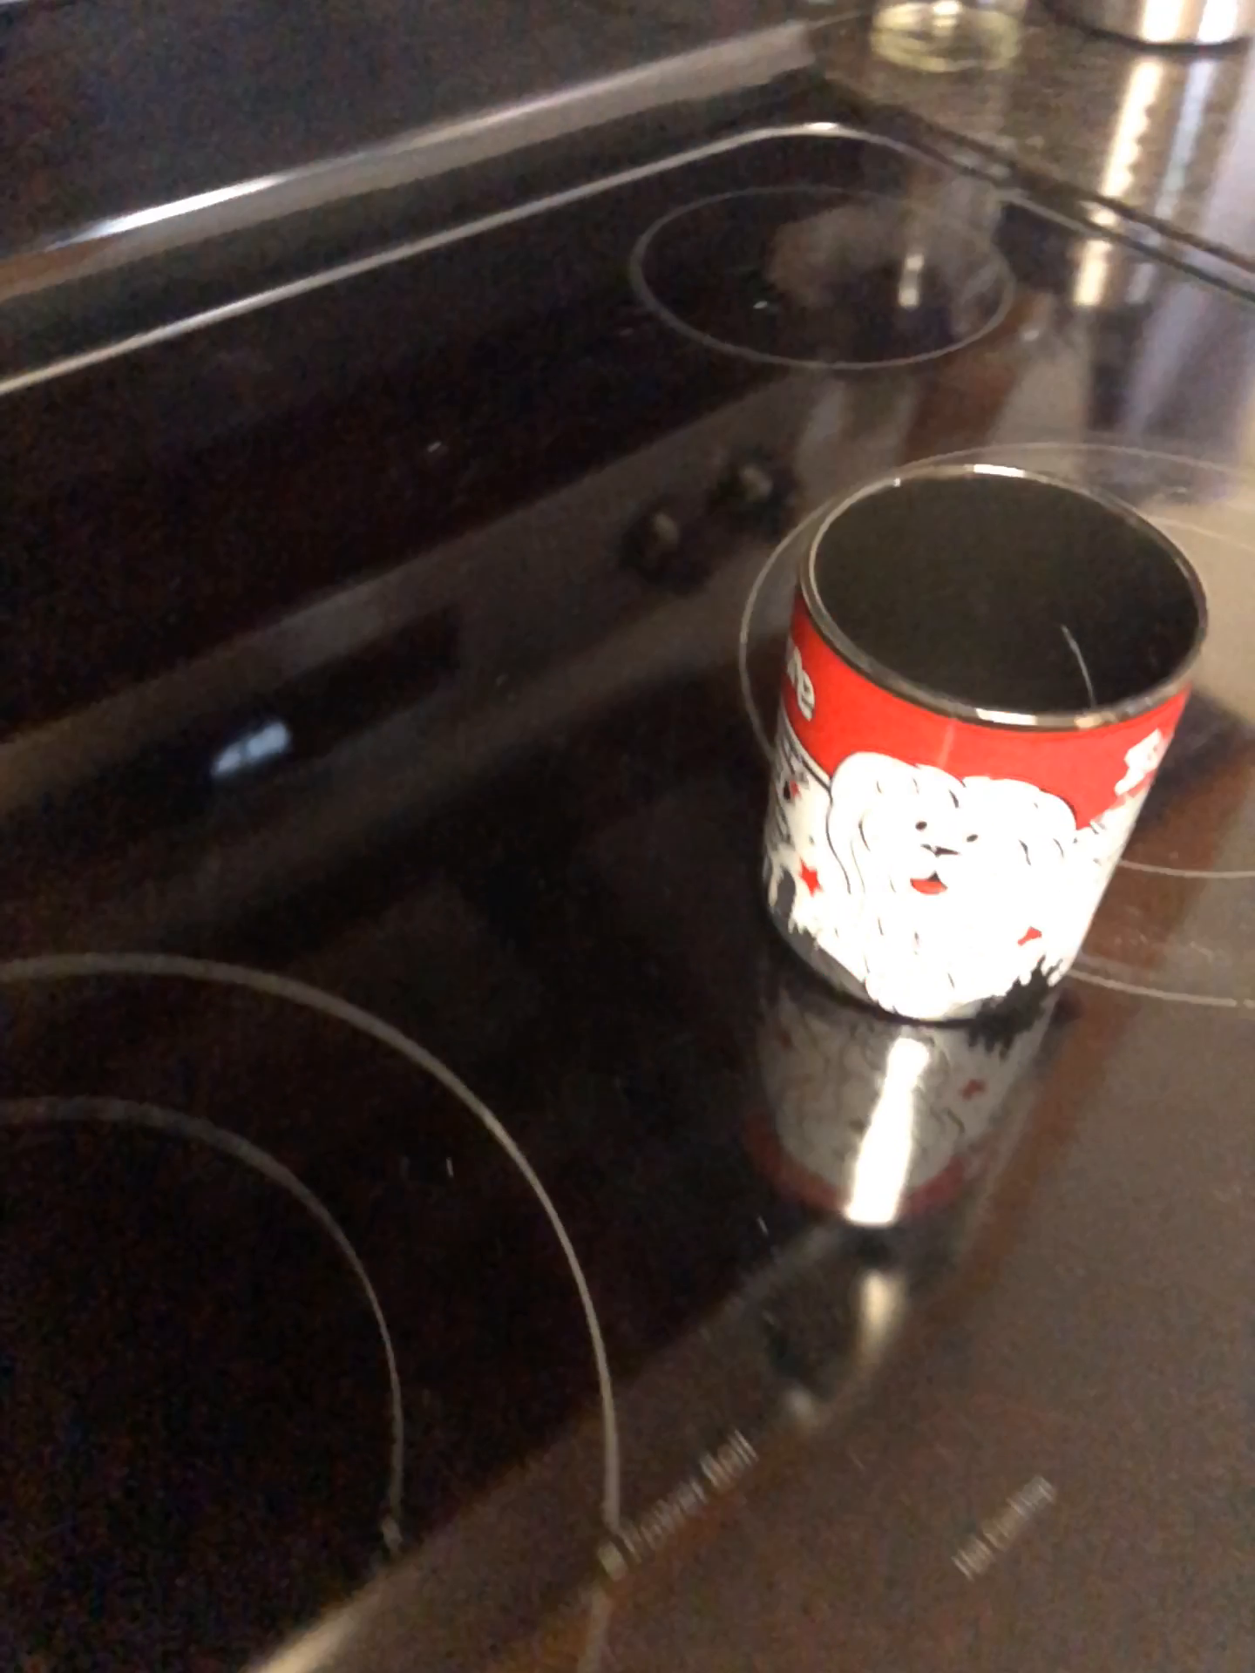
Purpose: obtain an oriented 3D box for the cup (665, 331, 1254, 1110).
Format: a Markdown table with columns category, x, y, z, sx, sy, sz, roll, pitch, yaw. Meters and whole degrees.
| category | x | y | z | sx | sy | sz | roll | pitch | yaw |
| --- | --- | --- | --- | --- | --- | --- | --- | --- | --- |
| cup | 0.077 | -0.031 | 0.312 | 0.090 | 0.090 | 0.130 | 19 | 50 | 15 |
